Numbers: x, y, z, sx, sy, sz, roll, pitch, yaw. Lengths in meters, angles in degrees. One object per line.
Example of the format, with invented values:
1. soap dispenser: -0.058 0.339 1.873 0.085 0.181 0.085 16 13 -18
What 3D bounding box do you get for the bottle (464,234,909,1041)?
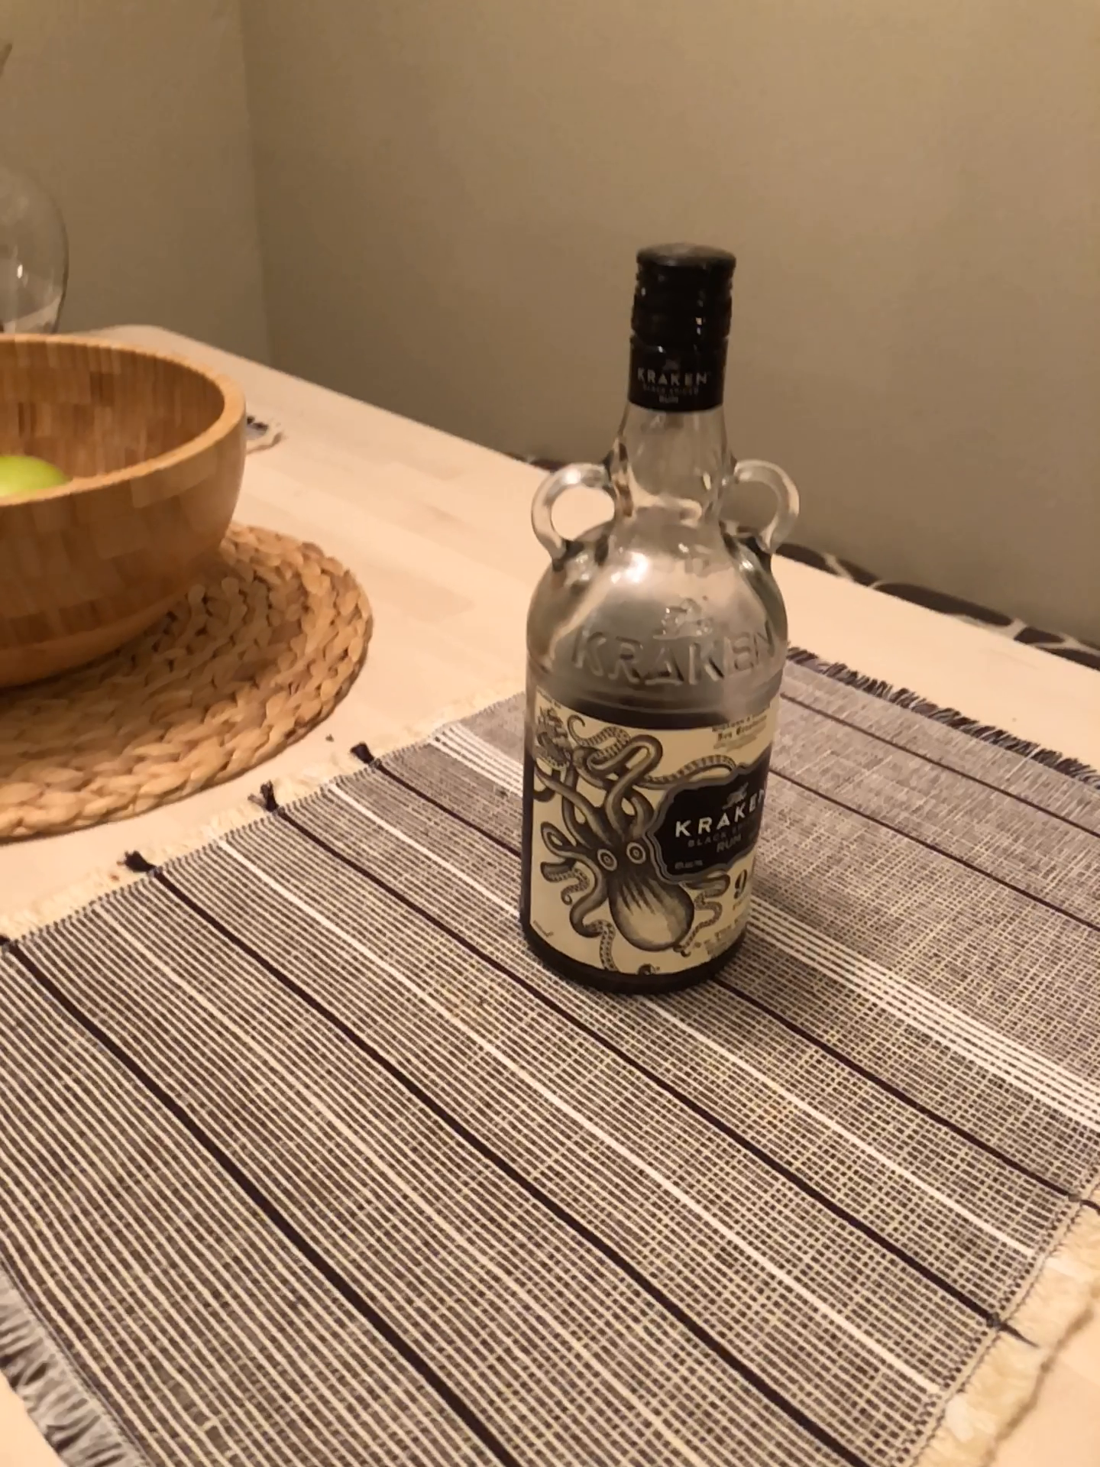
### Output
1. bottle: 0.030 -0.030 0.415 0.100 0.248 0.101 2 31 -1
